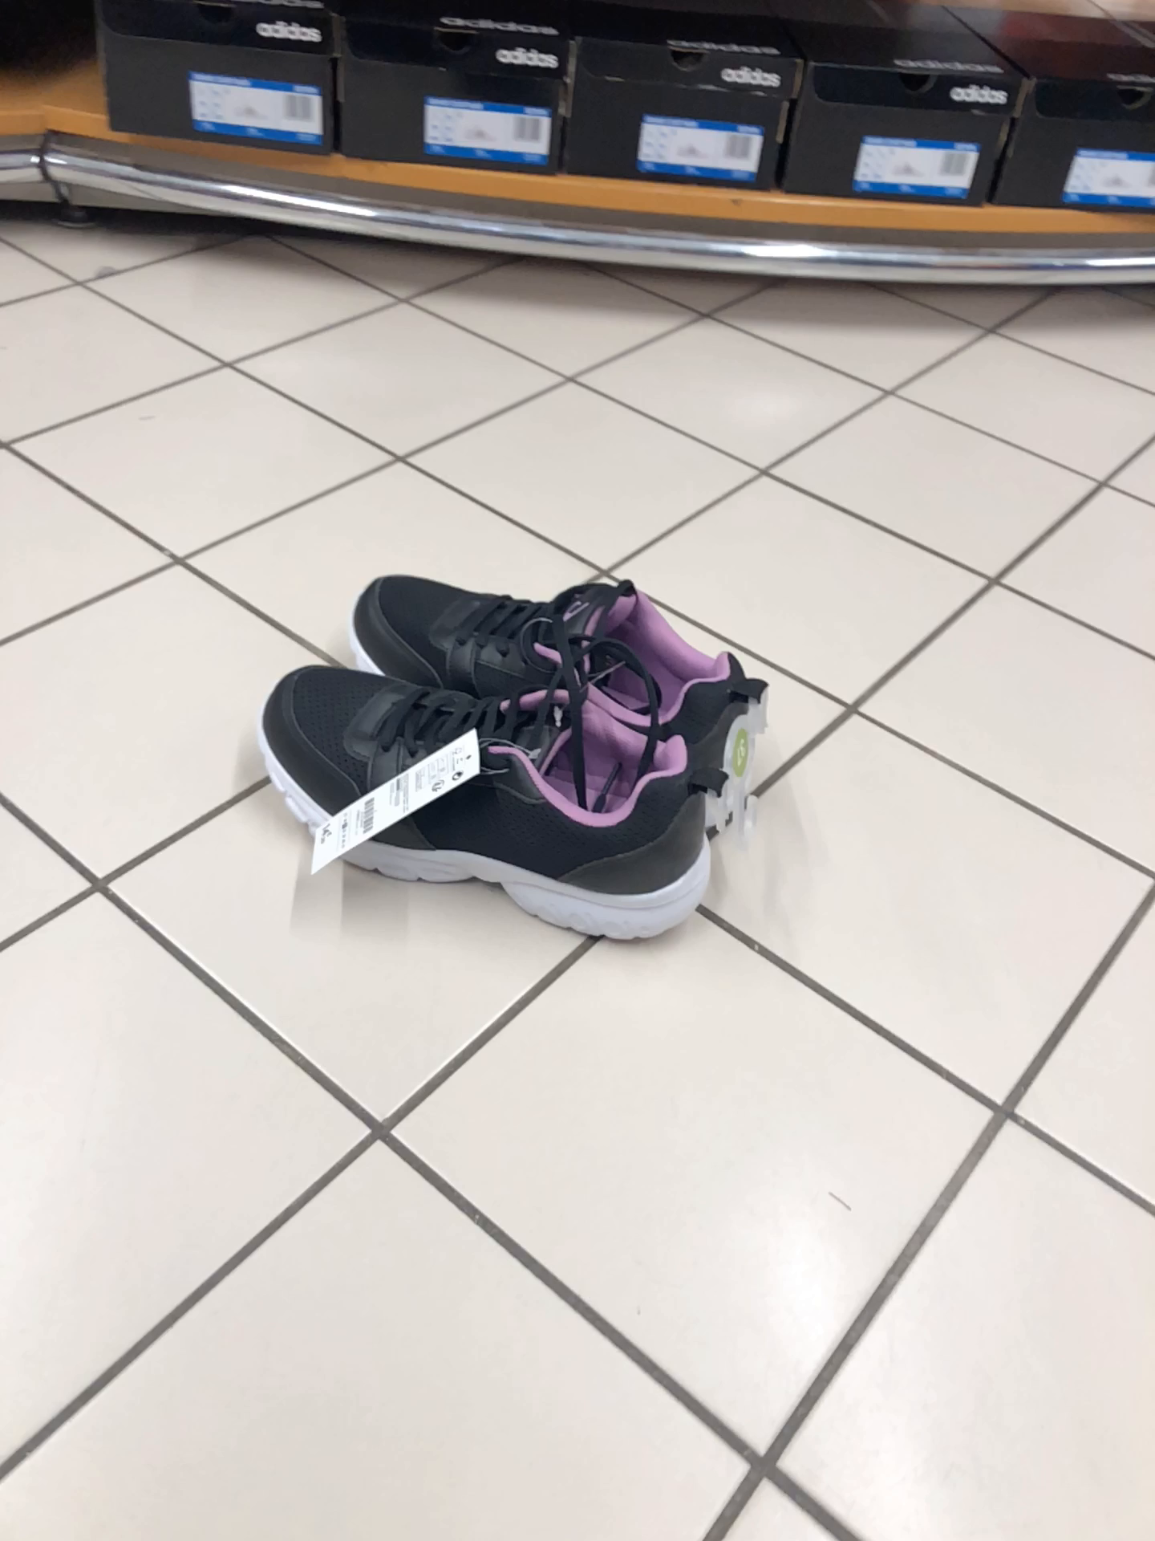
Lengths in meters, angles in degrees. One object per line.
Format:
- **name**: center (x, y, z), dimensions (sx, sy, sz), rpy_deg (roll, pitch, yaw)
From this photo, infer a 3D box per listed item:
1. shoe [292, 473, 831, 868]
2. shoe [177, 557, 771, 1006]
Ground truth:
- **shoe**: center (-0.011, -0.061, 0.693), dimensions (0.260, 0.089, 0.111), rpy_deg (21, 45, 15)
- **shoe**: center (-0.051, -0.001, 0.635), dimensions (0.260, 0.089, 0.111), rpy_deg (21, 48, 15)
